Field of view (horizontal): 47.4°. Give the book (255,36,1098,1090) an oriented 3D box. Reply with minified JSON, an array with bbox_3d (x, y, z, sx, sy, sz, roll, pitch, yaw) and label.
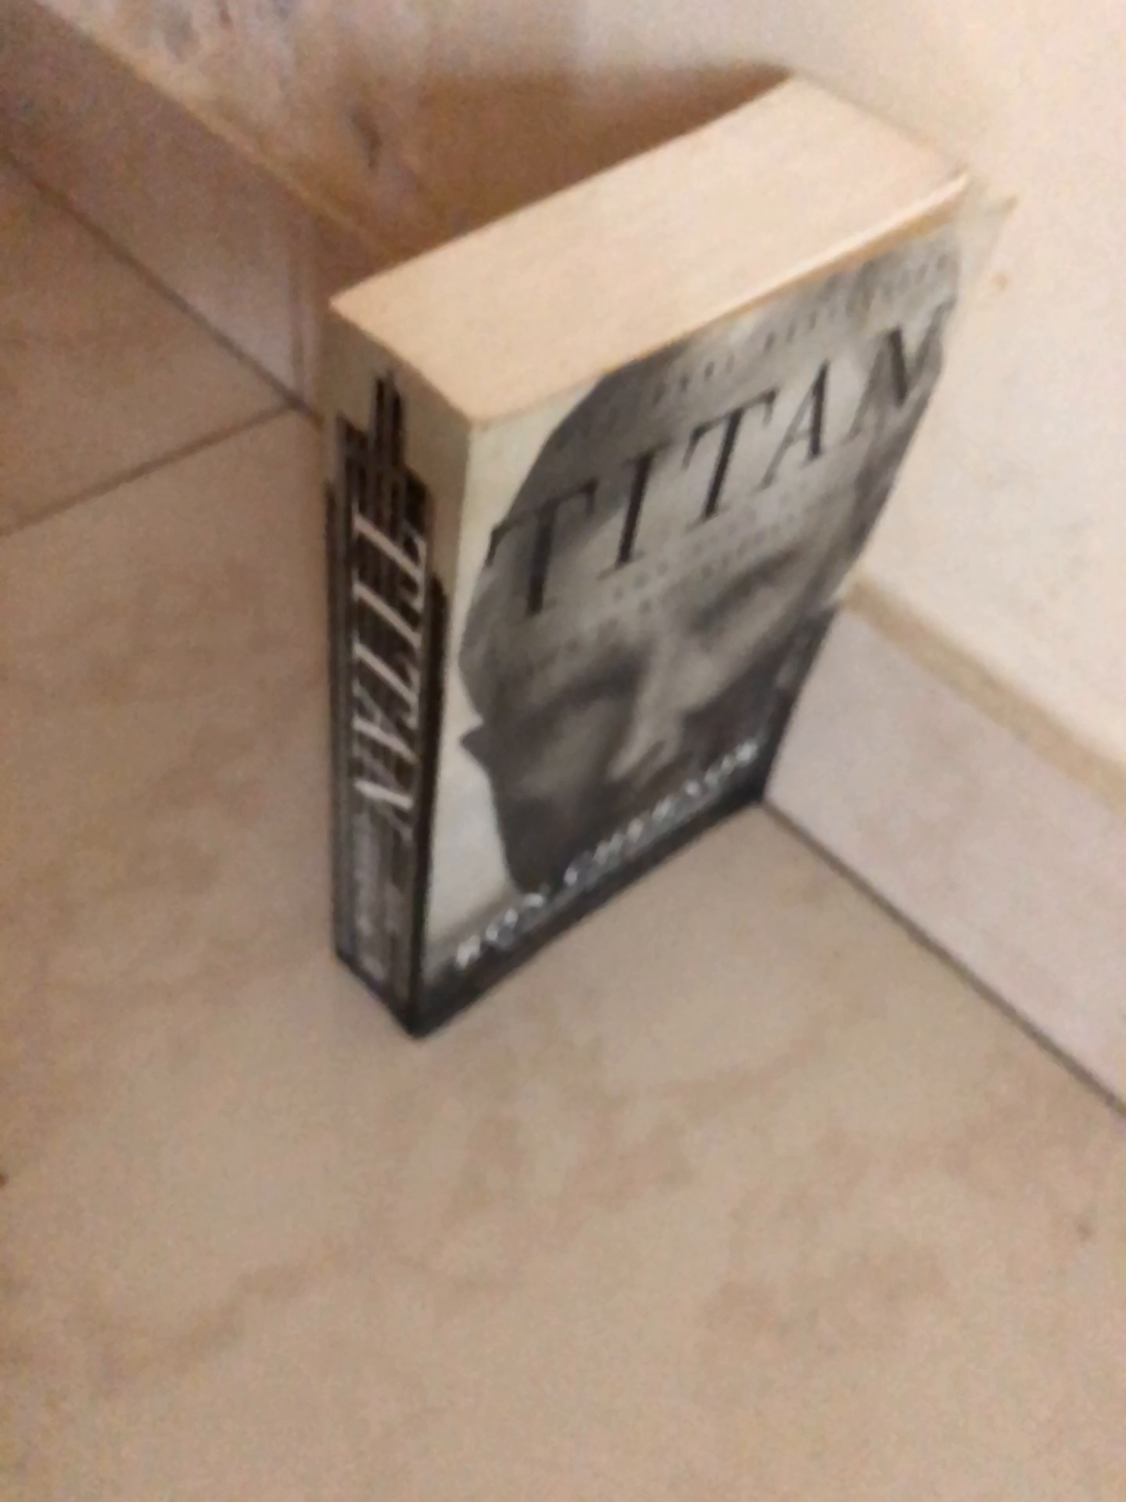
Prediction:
[{"bbox_3d":[0.021,-0.041,0.350,0.060,0.229,0.201,40,56,20],"label":"book"}]
